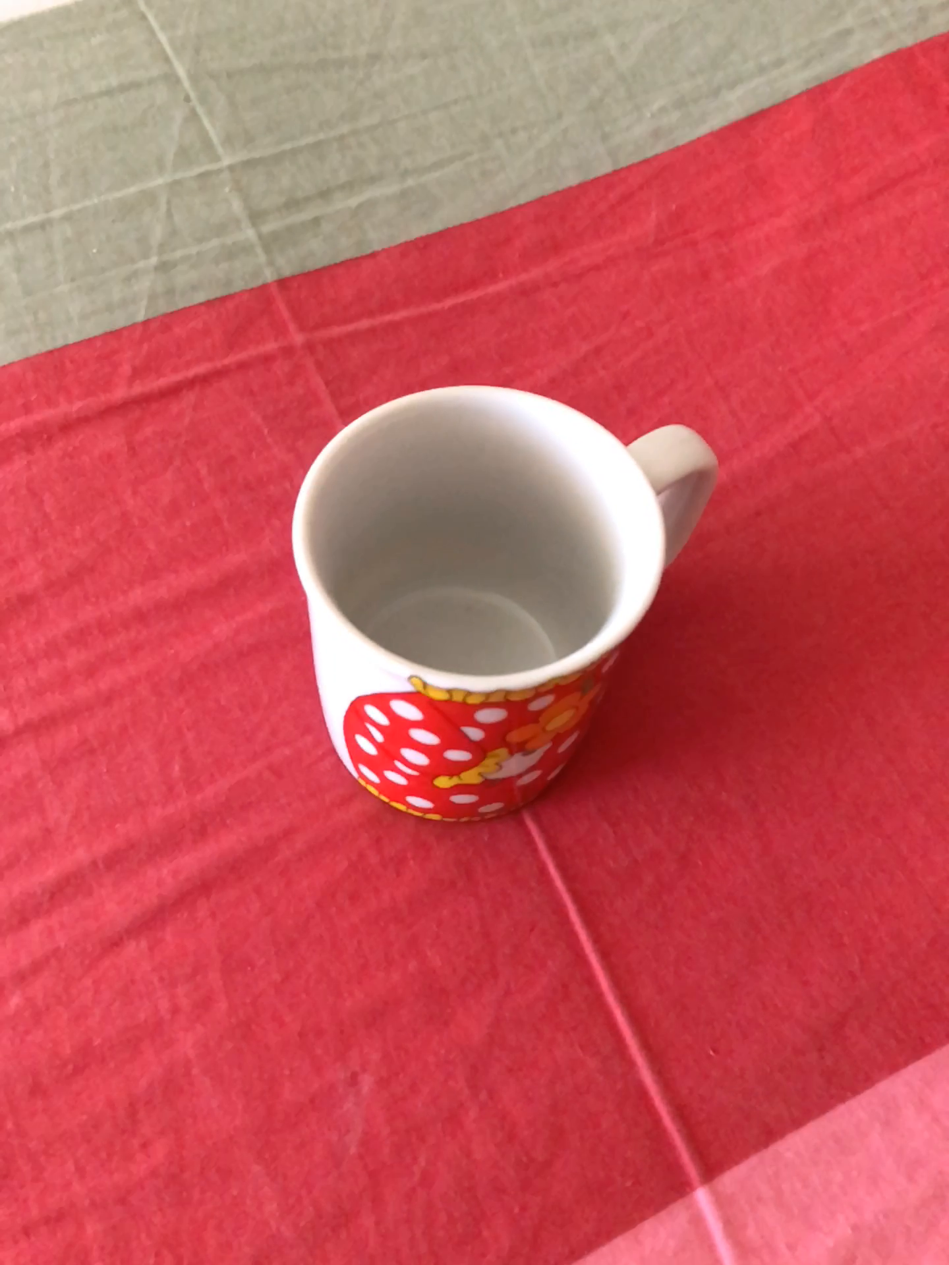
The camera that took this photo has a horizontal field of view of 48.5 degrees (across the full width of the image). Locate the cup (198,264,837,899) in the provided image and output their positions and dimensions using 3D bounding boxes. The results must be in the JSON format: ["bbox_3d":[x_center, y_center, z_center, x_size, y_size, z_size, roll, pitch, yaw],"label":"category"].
[{"bbox_3d":[0.008,-0.013,0.275,0.116,0.086,0.089,-37,71,-22],"label":"cup"}]
